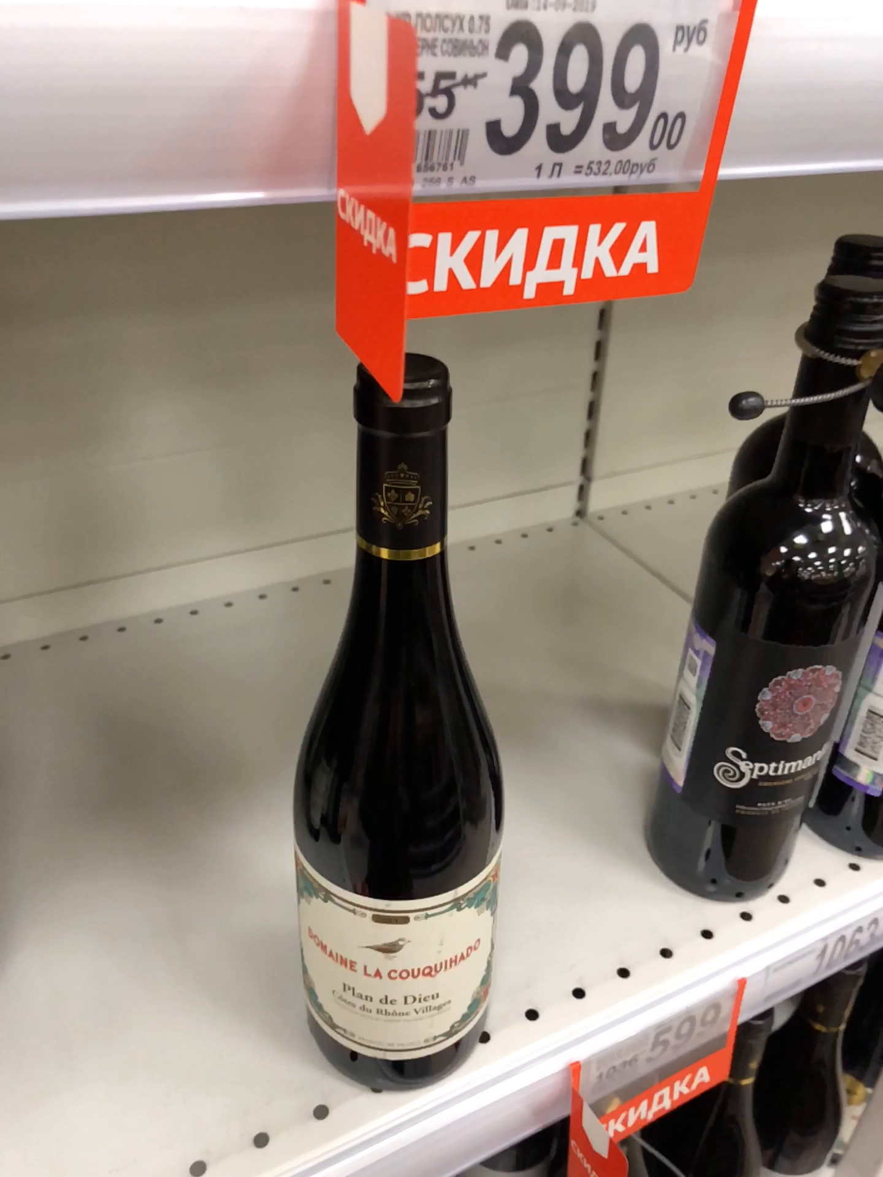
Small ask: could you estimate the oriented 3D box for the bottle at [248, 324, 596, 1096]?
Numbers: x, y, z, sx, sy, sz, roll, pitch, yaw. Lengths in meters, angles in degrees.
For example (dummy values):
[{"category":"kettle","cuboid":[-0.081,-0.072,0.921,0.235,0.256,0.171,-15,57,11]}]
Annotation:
[{"category":"bottle","cuboid":[-0.012,0.064,0.366,0.090,0.301,0.080,1,32,-3]}]
